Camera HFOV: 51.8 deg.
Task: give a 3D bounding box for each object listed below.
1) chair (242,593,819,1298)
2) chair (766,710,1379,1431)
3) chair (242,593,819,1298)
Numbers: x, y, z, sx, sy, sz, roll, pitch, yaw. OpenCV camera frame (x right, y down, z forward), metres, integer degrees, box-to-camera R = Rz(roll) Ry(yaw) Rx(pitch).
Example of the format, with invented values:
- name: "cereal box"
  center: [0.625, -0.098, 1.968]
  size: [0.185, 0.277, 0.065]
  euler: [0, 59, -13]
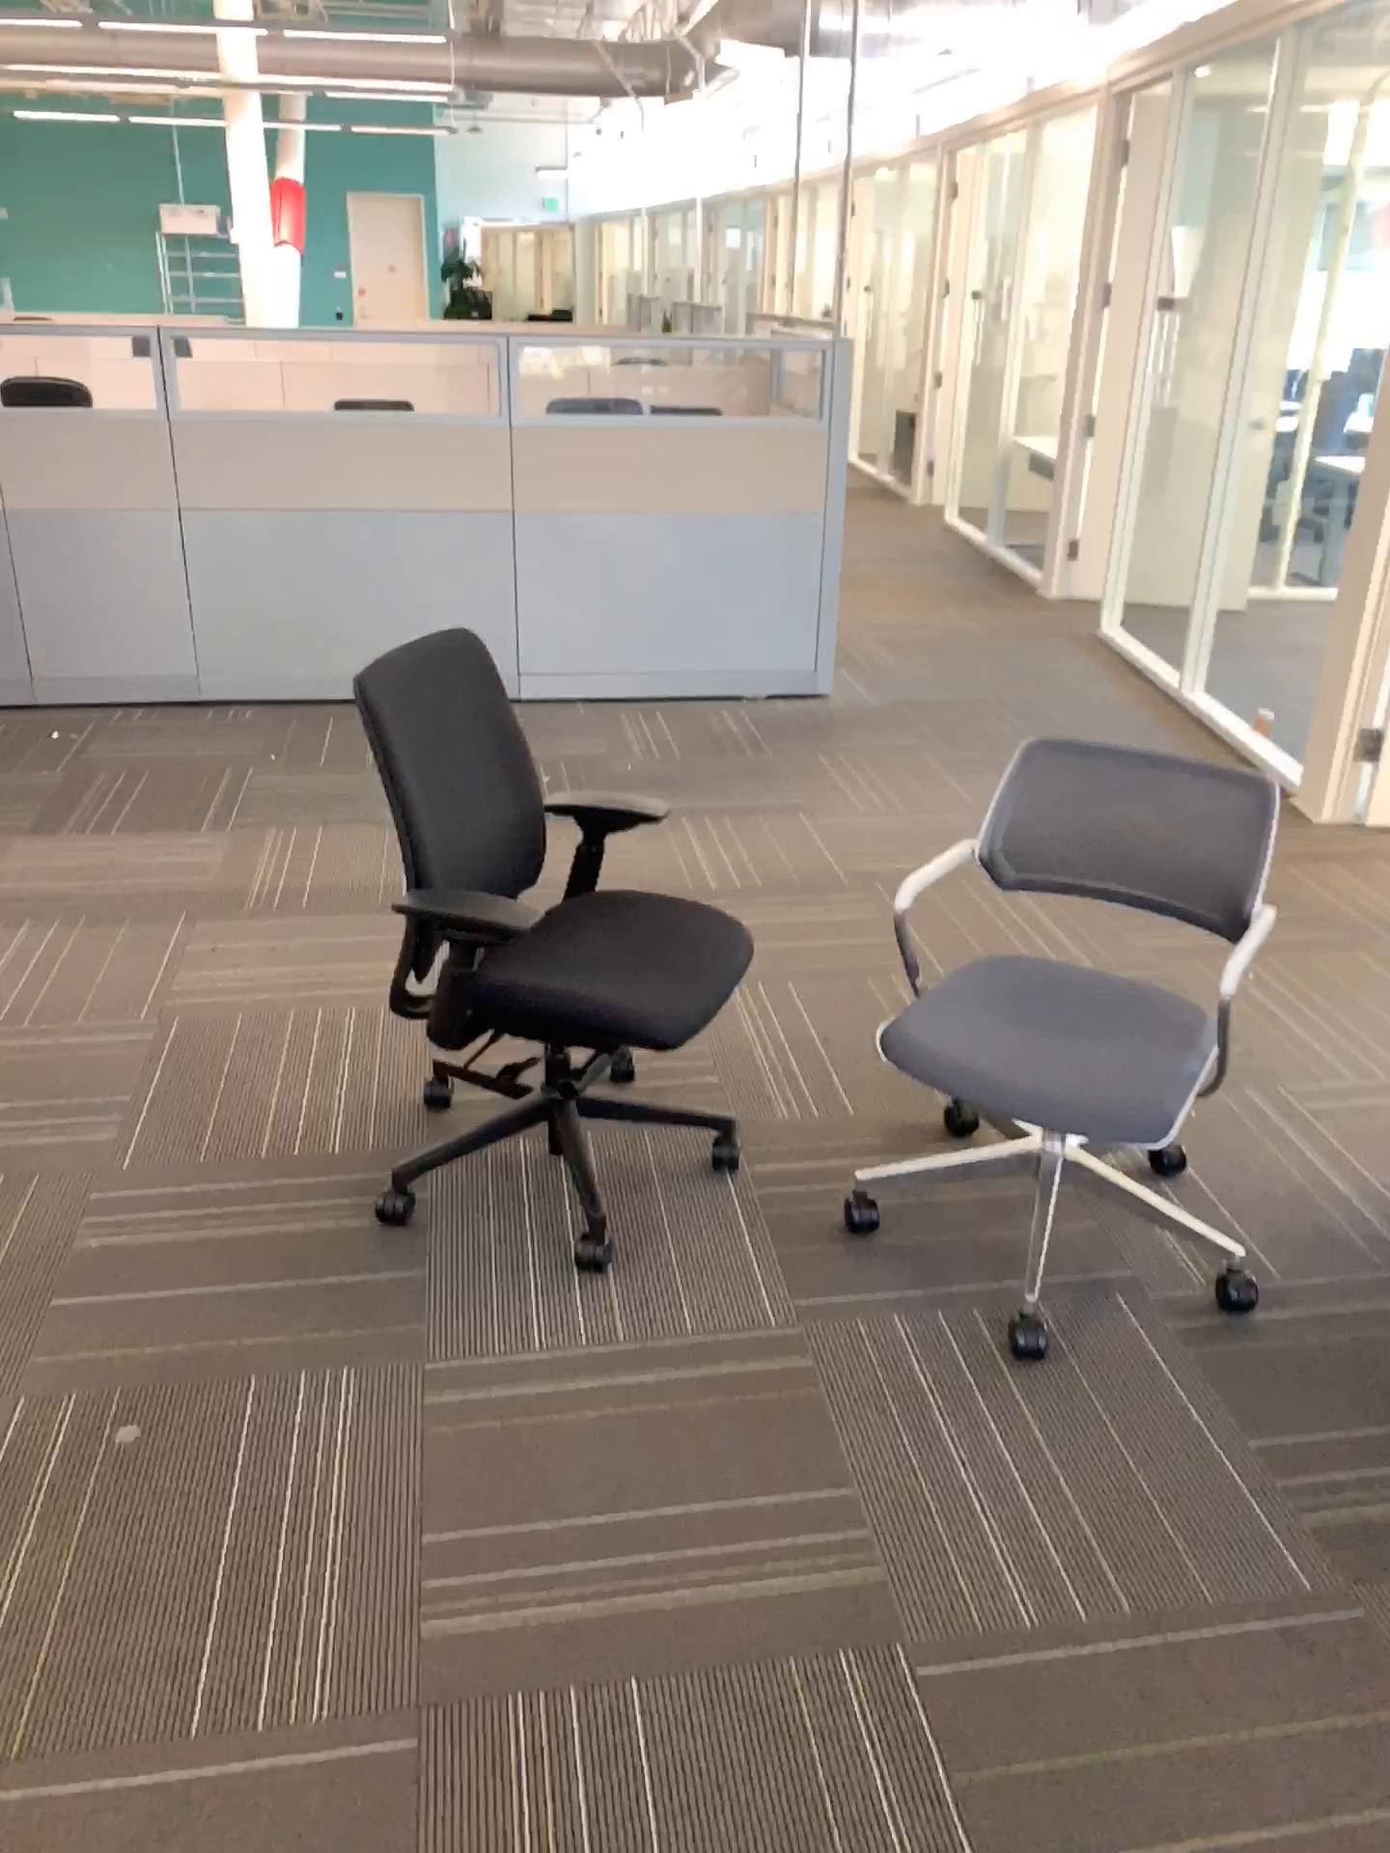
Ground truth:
- name: "chair"
  center: [-0.226, -0.029, 2.555]
  size: [0.711, 0.915, 0.824]
  euler: [7, 25, 12]
- name: "chair"
  center: [0.625, 0.163, 2.370]
  size: [0.731, 0.776, 0.753]
  euler: [13, 27, 24]
- name: "chair"
  center: [-0.226, -0.029, 2.555]
  size: [0.711, 0.915, 0.824]
  euler: [7, 25, 12]
